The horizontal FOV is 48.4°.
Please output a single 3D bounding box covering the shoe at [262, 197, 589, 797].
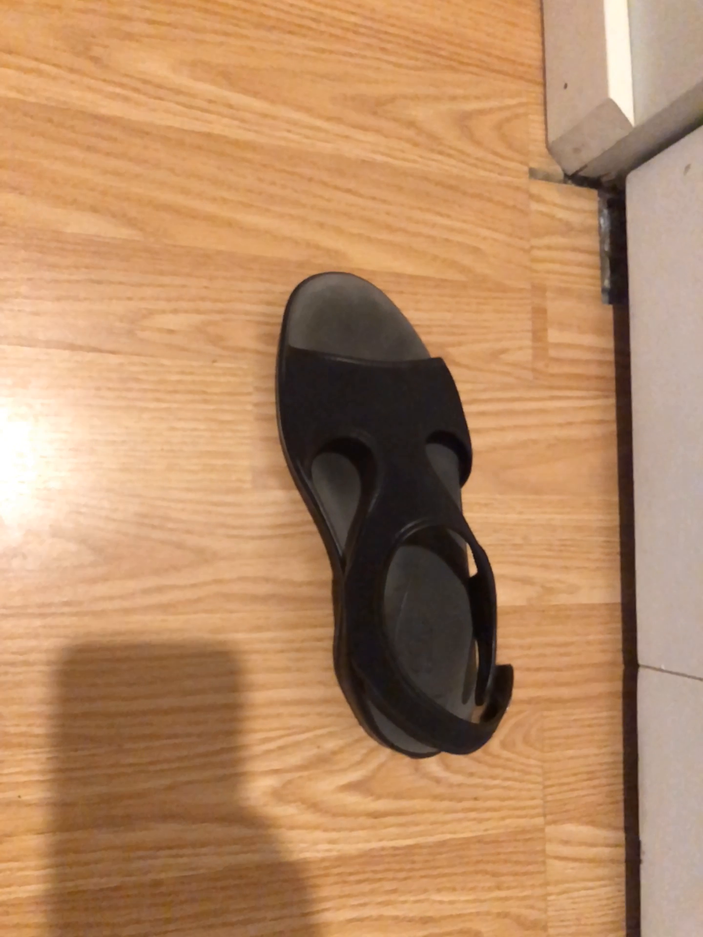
[{"bbox_3d":[0.029,0.009,0.387,0.100,0.100,0.250,-6,87,-20],"label":"shoe"}]
